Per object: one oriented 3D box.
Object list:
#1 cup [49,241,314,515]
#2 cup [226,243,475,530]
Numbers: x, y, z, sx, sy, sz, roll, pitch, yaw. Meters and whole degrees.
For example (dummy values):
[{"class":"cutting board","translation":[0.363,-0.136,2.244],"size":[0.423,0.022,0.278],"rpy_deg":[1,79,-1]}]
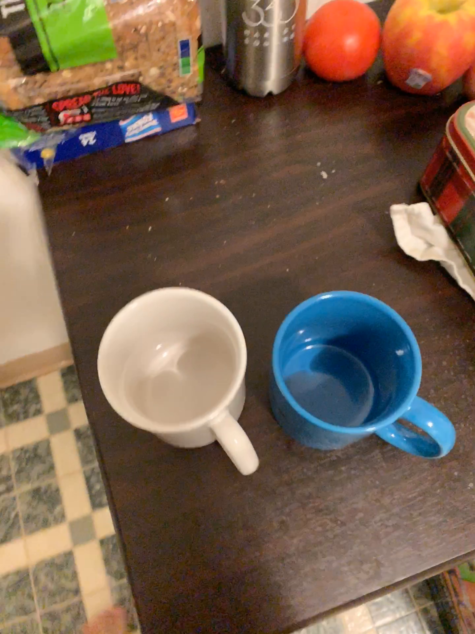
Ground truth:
[{"class":"cup","translation":[-0.032,0.041,0.307],"size":[0.090,0.090,0.120],"rpy_deg":[-36,73,-11]},{"class":"cup","translation":[0.078,0.046,0.311],"size":[0.140,0.100,0.090],"rpy_deg":[36,74,13]}]
